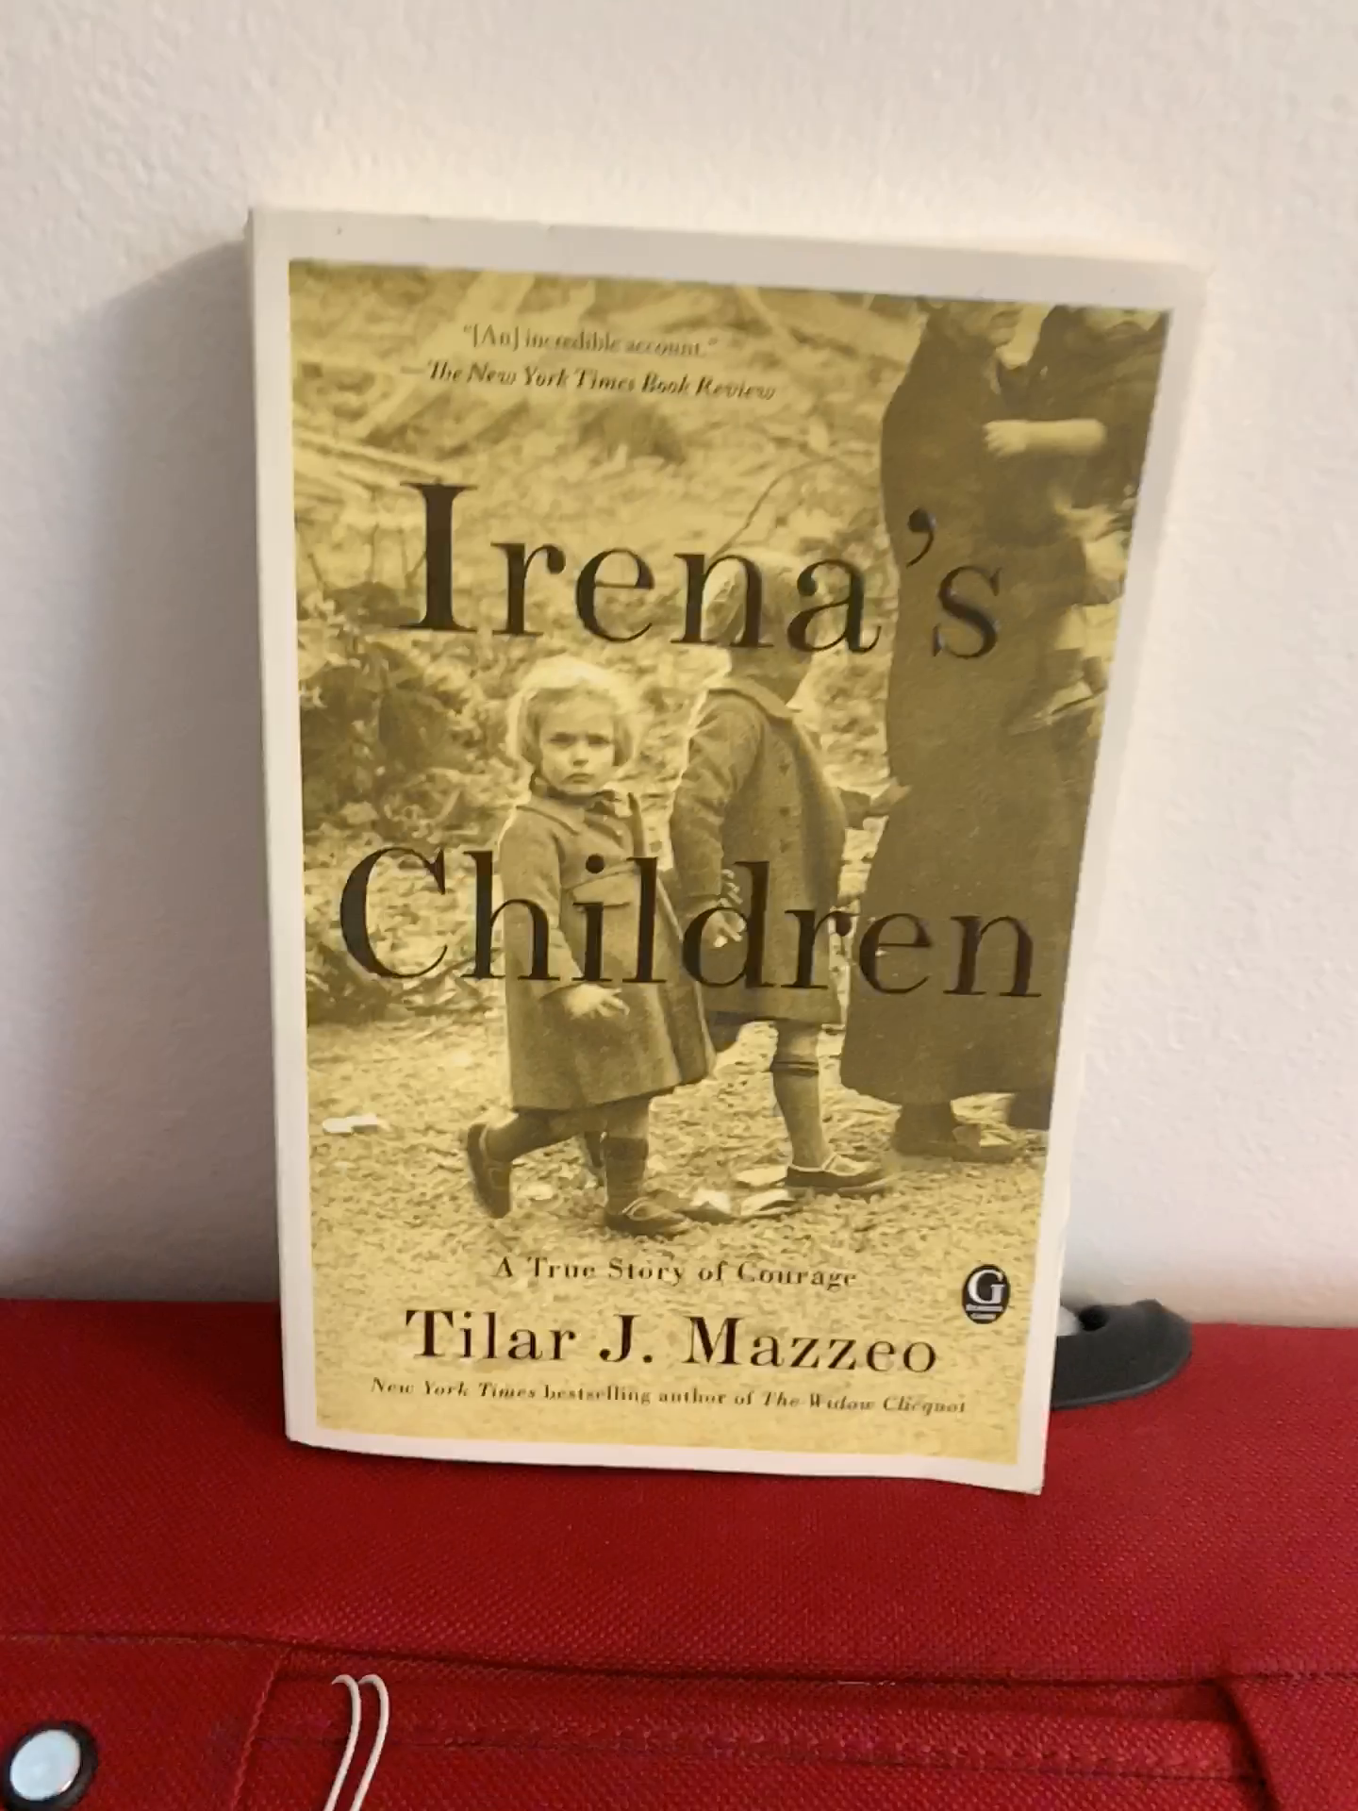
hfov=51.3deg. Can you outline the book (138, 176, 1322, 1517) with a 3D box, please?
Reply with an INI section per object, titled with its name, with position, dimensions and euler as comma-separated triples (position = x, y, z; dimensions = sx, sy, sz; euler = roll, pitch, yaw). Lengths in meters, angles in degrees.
[book]
position = 0.005, 0.000, 0.252
dimensions = 0.170, 0.229, 0.030
euler = 2, 18, 3
